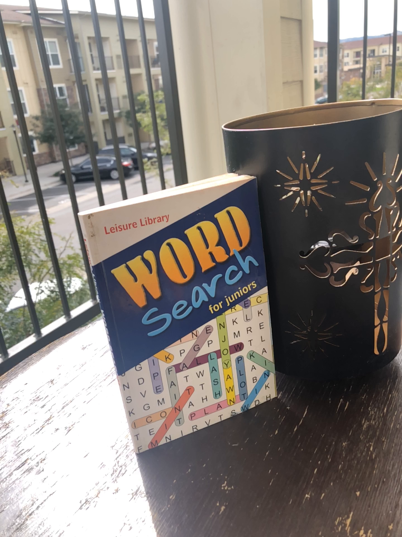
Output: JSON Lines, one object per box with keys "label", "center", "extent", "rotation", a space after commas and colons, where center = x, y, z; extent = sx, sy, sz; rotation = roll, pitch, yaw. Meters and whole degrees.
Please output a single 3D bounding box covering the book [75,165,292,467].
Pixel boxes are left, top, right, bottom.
{"label": "book", "center": [-0.003, 0.030, 0.308], "extent": [0.124, 0.179, 0.031], "rotation": [-15, 20, -21]}
